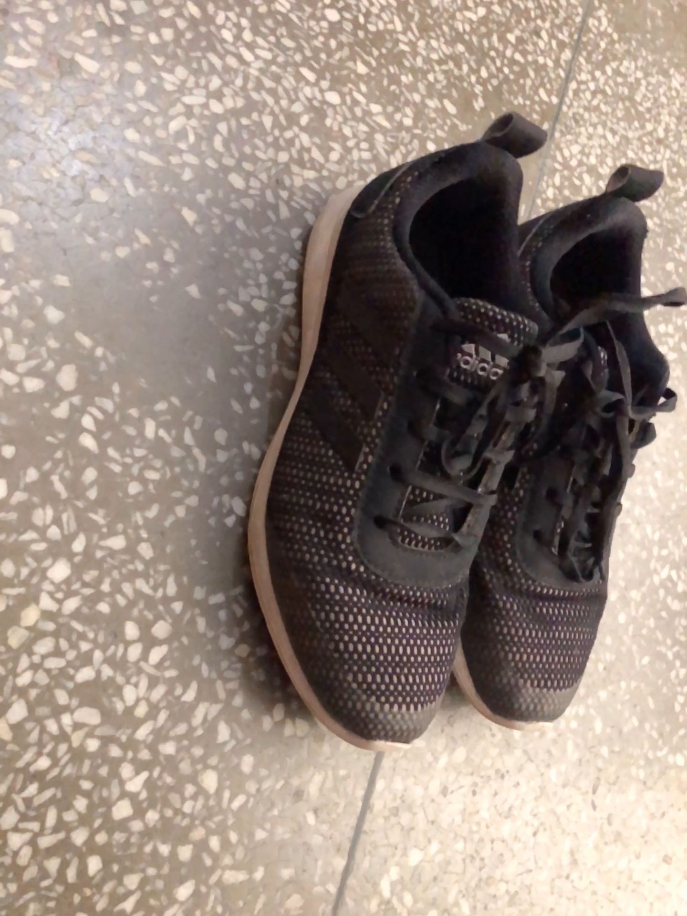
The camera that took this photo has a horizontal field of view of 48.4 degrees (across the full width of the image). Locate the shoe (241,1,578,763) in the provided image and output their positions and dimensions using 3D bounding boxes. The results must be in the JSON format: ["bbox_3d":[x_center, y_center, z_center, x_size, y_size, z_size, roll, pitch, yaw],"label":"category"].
[{"bbox_3d":[0.031,-0.027,0.324,0.100,0.080,0.280,11,74,-31],"label":"shoe"}]

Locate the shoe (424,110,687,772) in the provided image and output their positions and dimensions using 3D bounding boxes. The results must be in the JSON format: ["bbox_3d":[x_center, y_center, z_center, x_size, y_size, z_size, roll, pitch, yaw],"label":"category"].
[{"bbox_3d":[0.110,-0.004,0.356,0.100,0.080,0.270,14,73,-30],"label":"shoe"}]
